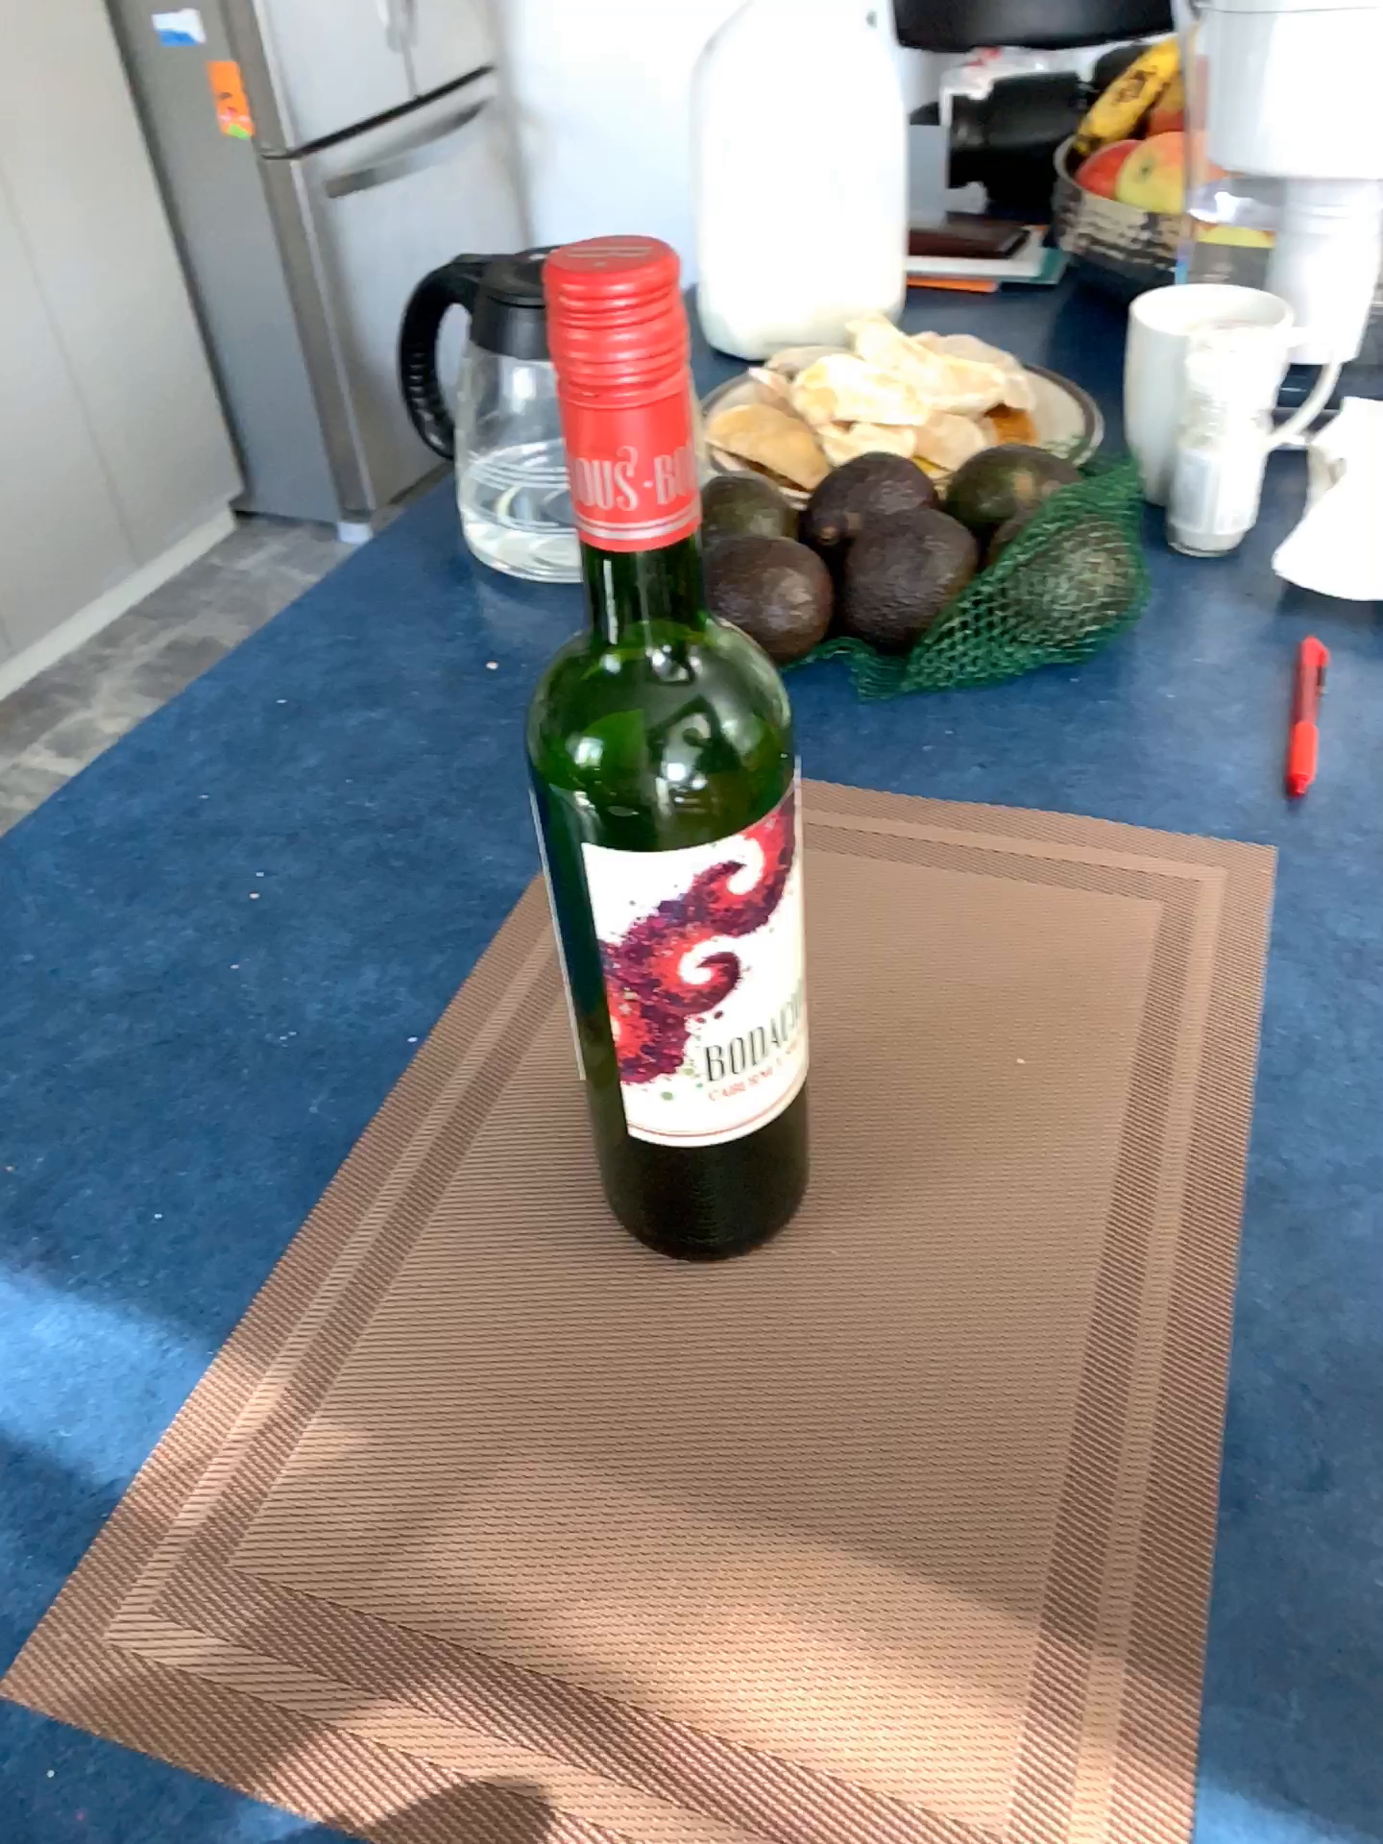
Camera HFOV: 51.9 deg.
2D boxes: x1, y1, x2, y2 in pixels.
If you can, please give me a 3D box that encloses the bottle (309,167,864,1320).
[{"bbox_3d":[-0.010,-0.026,0.383,0.080,0.297,0.080,-3,41,3],"label":"bottle"}]
